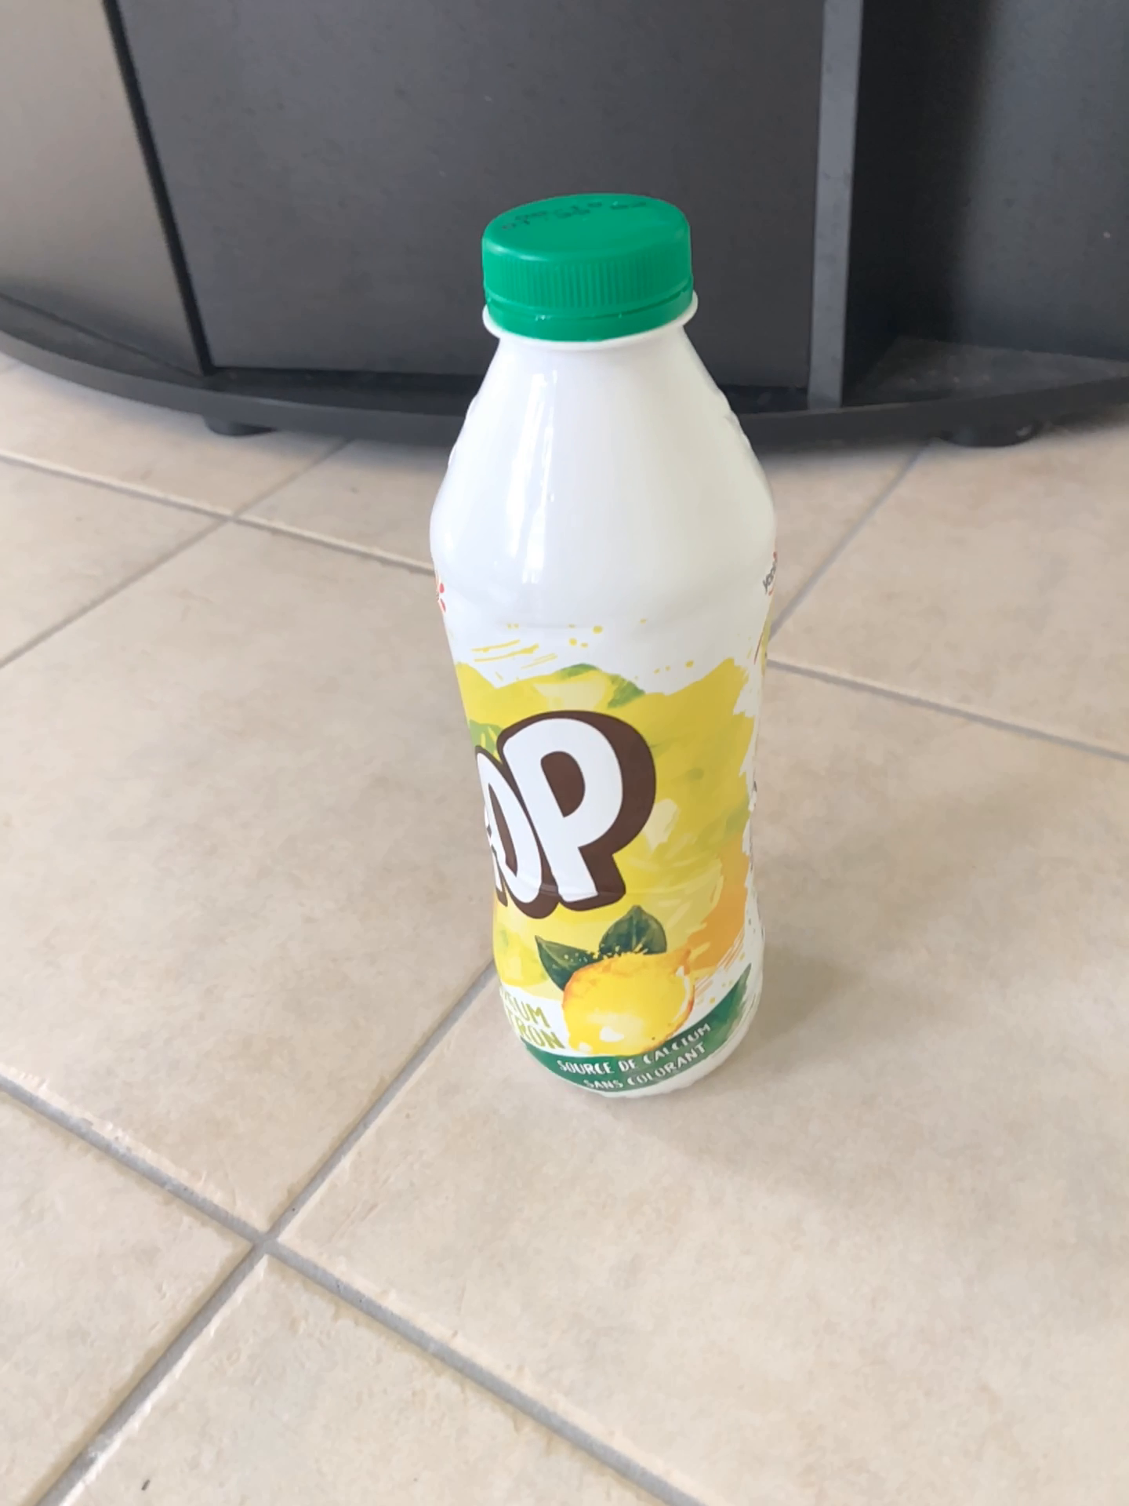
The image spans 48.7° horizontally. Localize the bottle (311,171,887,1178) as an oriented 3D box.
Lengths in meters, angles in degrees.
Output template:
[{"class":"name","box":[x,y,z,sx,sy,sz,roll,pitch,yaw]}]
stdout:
[{"class":"bottle","box":[0.015,-0.009,0.314,0.080,0.229,0.080,-4,38,3]}]
